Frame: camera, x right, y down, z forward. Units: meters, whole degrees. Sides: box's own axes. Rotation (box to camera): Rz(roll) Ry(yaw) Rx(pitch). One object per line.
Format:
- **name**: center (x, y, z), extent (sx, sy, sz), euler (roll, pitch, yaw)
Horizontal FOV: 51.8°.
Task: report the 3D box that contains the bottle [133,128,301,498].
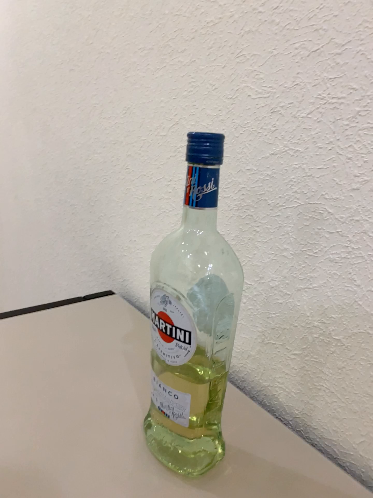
- **bottle**: center (0.017, 0.054, 0.353), extent (0.080, 0.309, 0.100), euler (-10, 21, -41)
